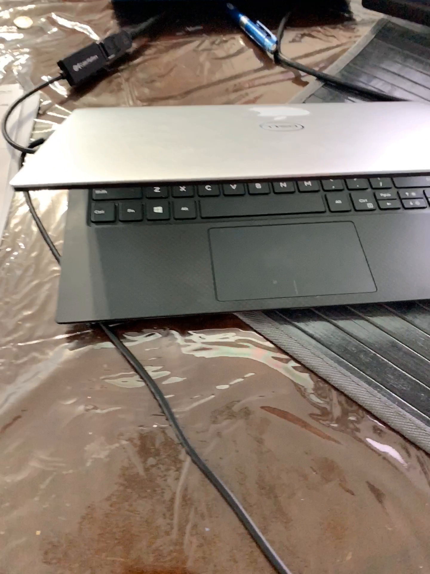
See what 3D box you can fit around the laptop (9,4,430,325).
[{"bbox_3d":[0.046,-0.088,0.285,0.290,0.082,0.183,-4,58,-6],"label":"laptop"}]
